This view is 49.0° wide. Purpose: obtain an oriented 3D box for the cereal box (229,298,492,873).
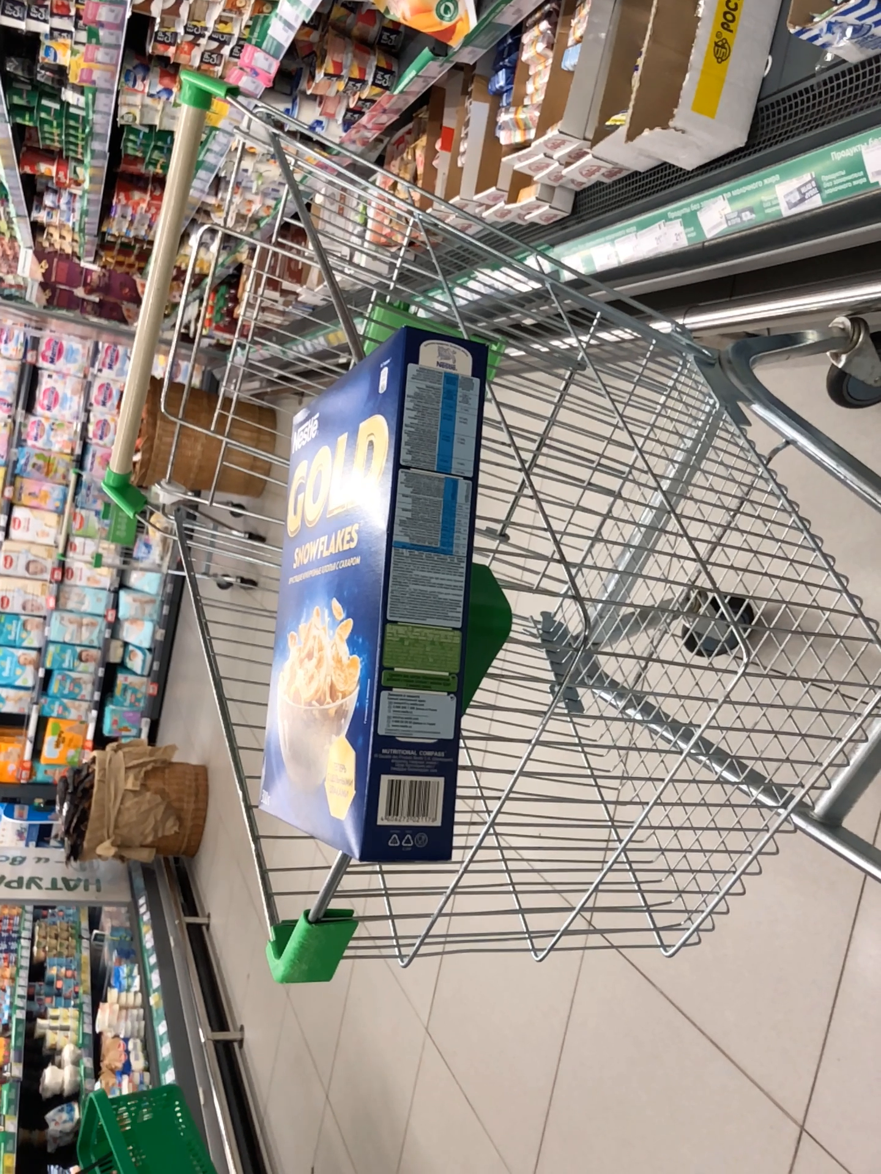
[{"bbox_3d":[-0.053,0.005,0.548,0.201,0.050,0.270,-10,73,62],"label":"cereal box"}]
